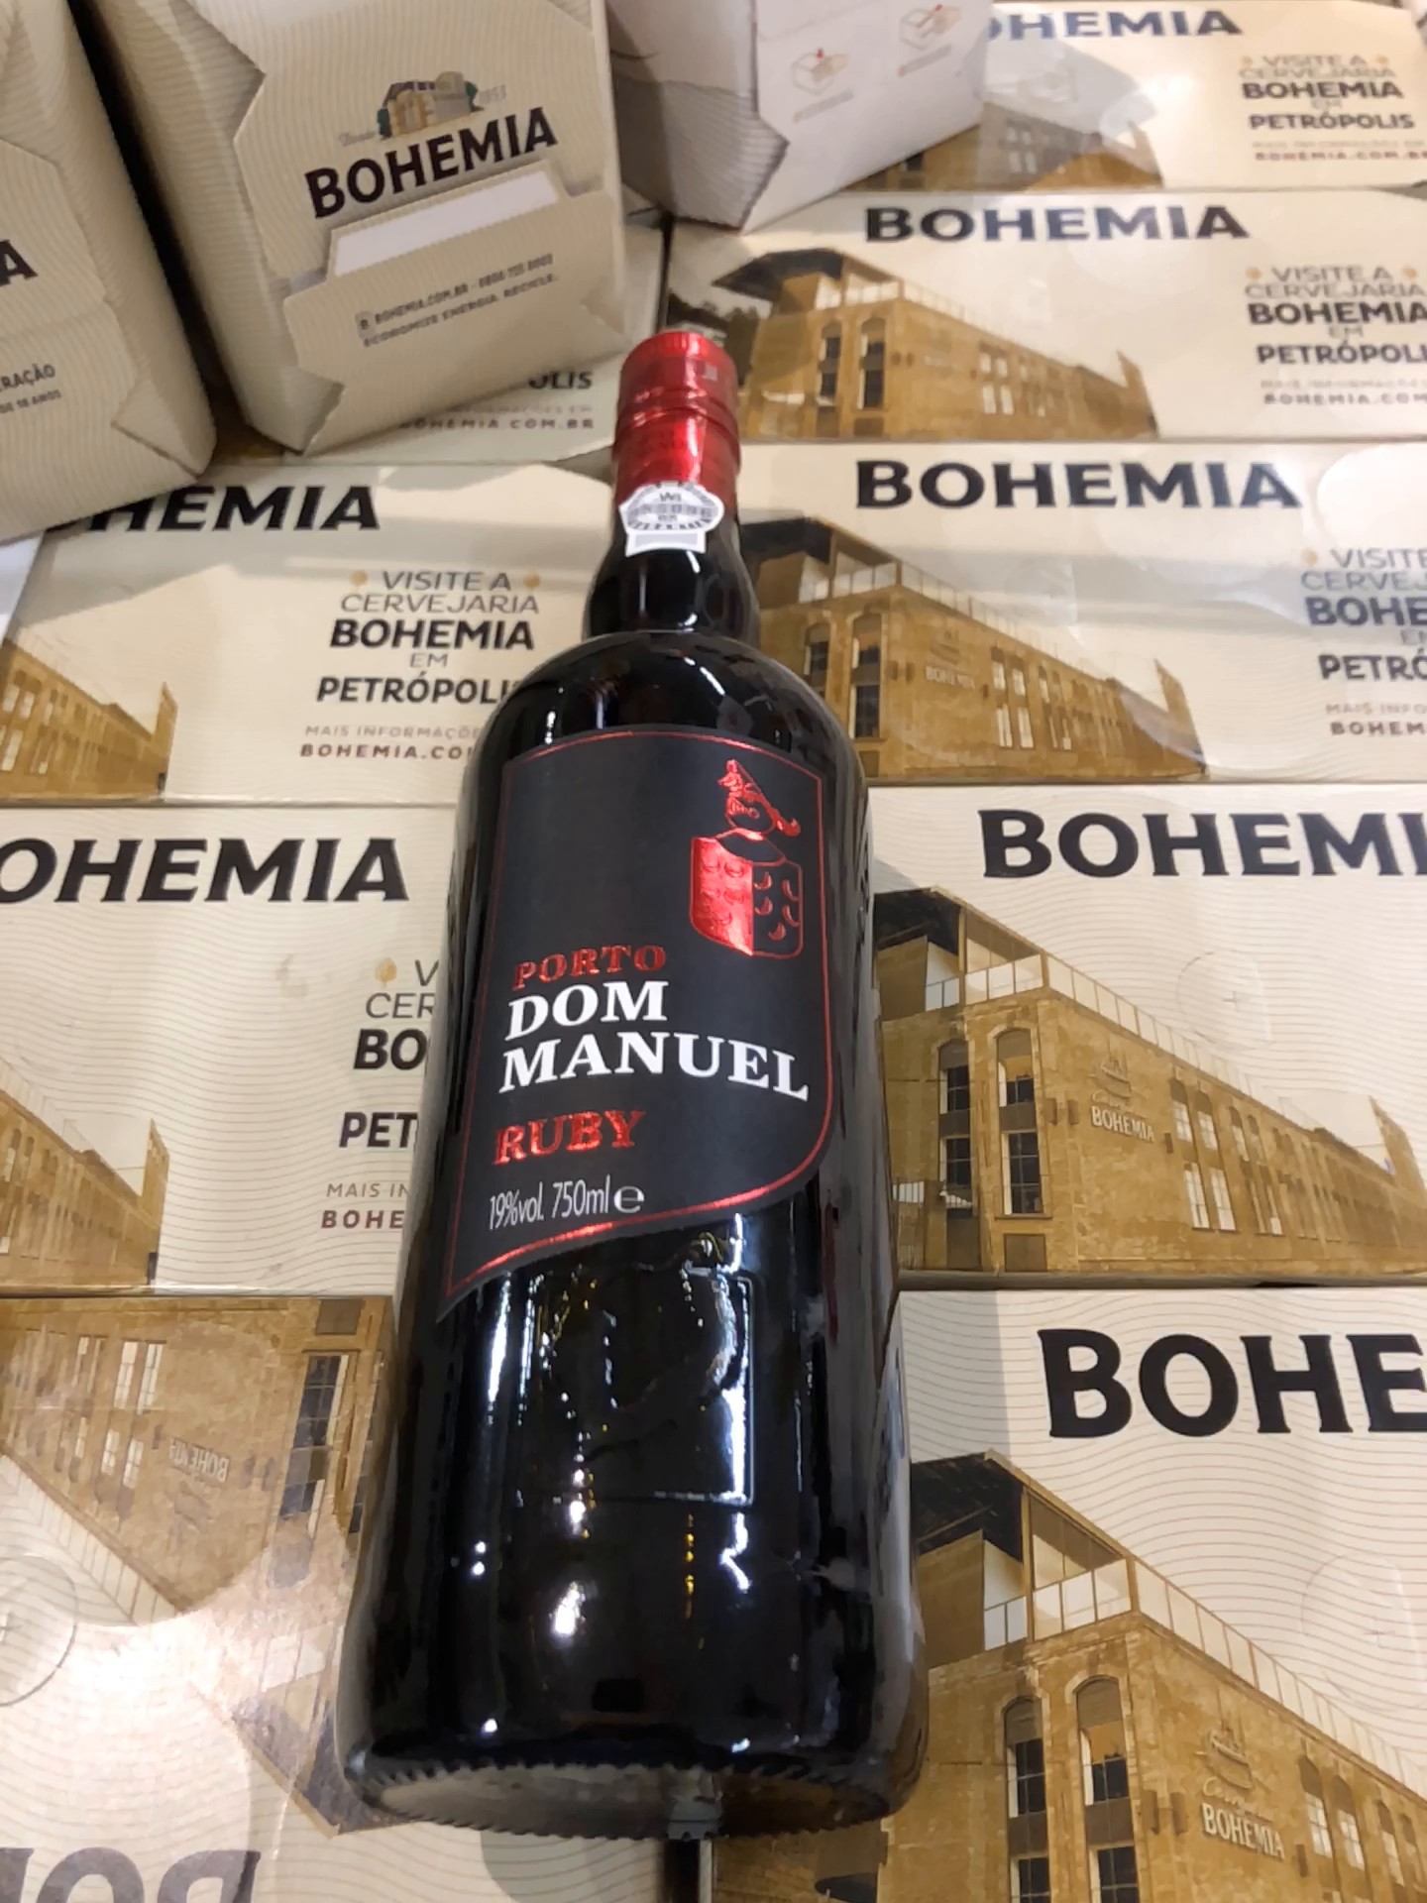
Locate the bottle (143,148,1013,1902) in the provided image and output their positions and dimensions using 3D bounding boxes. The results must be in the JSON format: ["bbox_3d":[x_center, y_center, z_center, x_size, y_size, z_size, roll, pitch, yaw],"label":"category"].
[{"bbox_3d":[-0.016,-0.018,0.288,0.090,0.070,0.332,3,55,-4],"label":"bottle"}]
